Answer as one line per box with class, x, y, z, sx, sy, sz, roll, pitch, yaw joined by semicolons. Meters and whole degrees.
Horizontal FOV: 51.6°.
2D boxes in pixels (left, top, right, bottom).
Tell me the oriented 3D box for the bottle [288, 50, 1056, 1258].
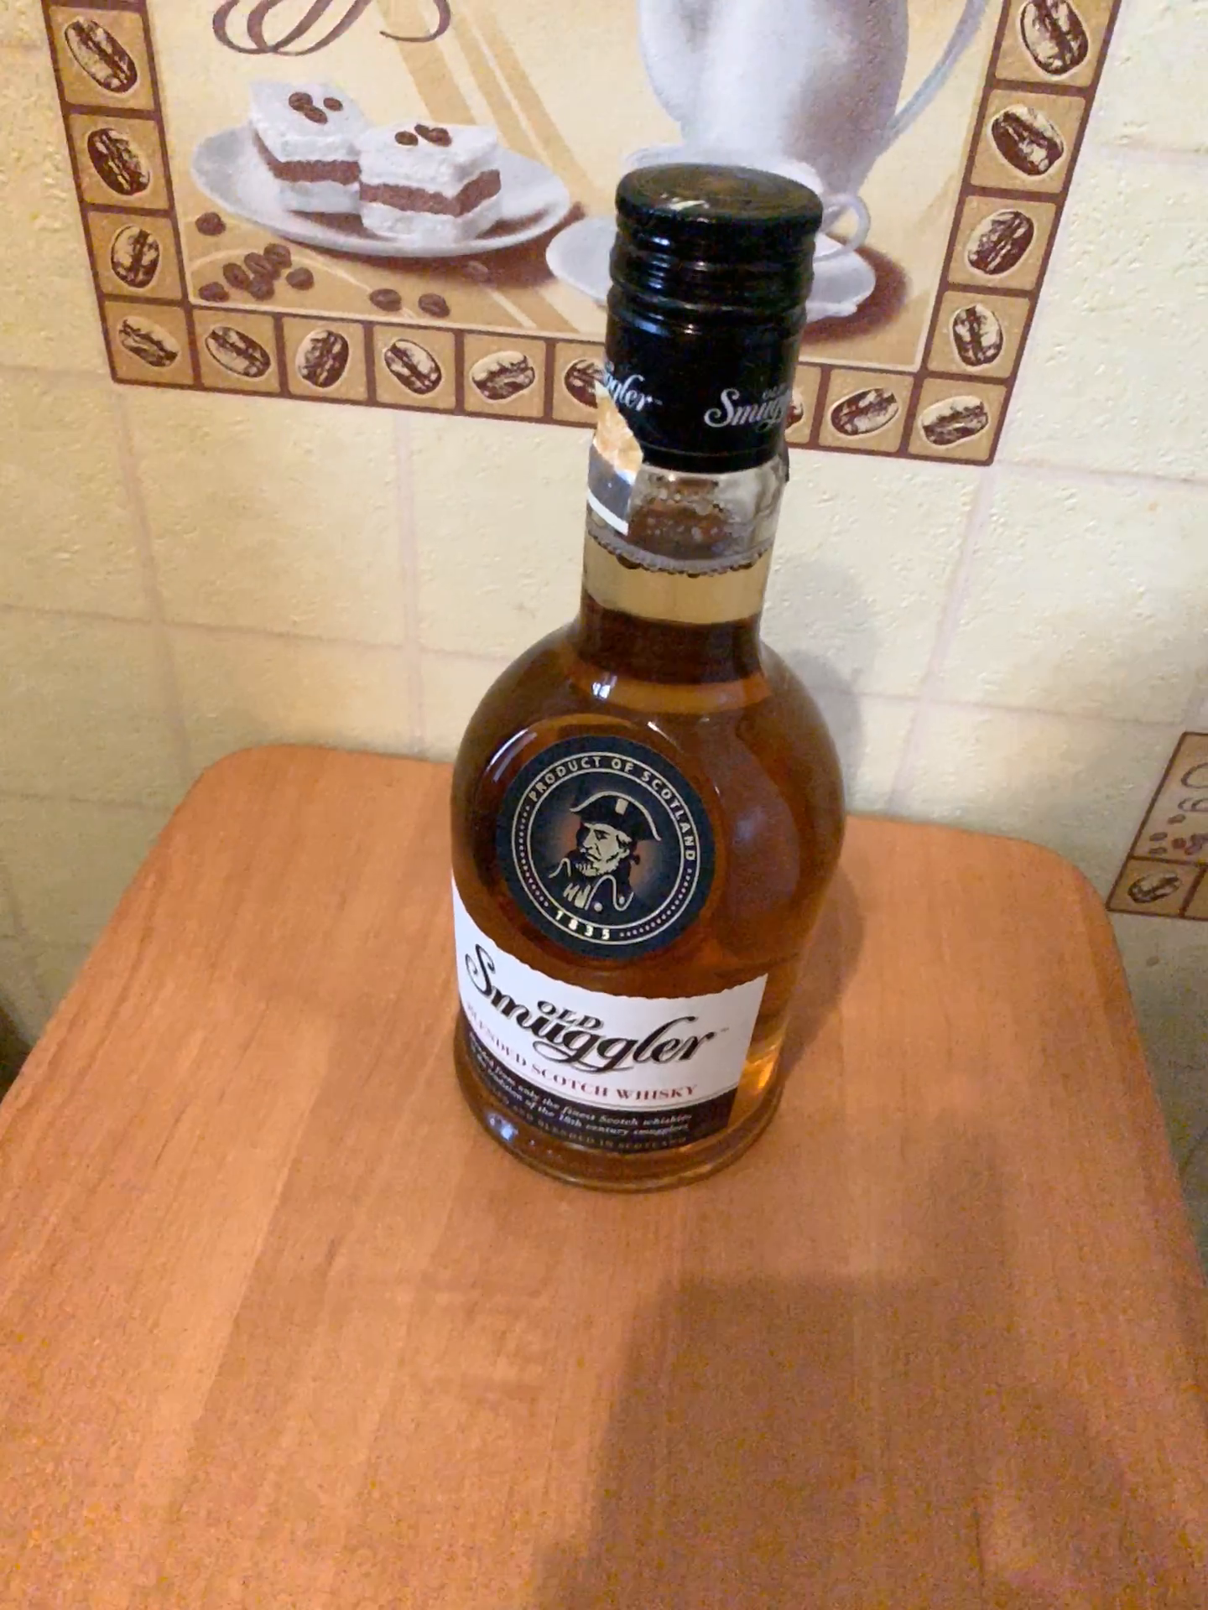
bottle;0.008;-0.018;0.267;0.100;0.229;0.080;17;40;14
